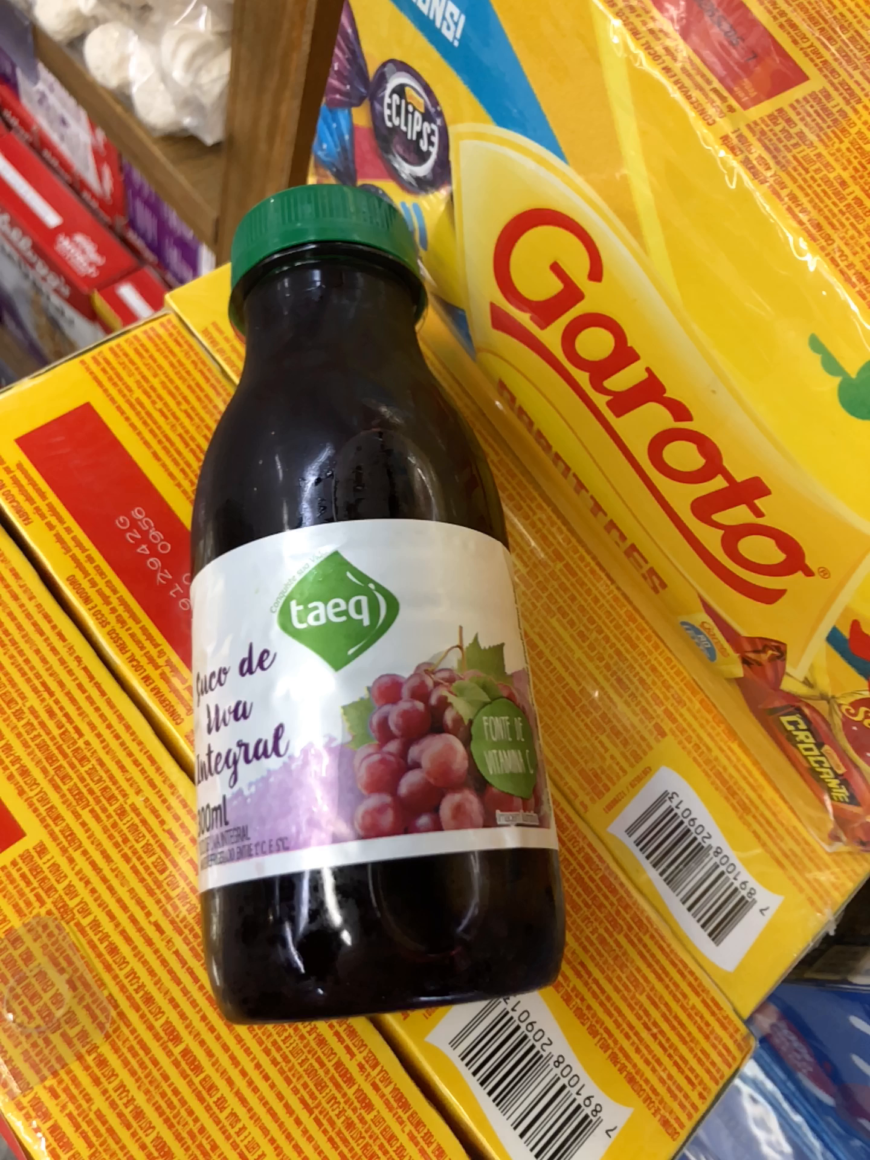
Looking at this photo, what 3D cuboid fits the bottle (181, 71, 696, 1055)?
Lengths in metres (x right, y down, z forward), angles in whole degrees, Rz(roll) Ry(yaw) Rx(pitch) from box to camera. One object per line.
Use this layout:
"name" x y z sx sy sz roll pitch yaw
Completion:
"bottle" -0.011 -0.009 0.188 0.070 0.050 0.170 0 68 -17
